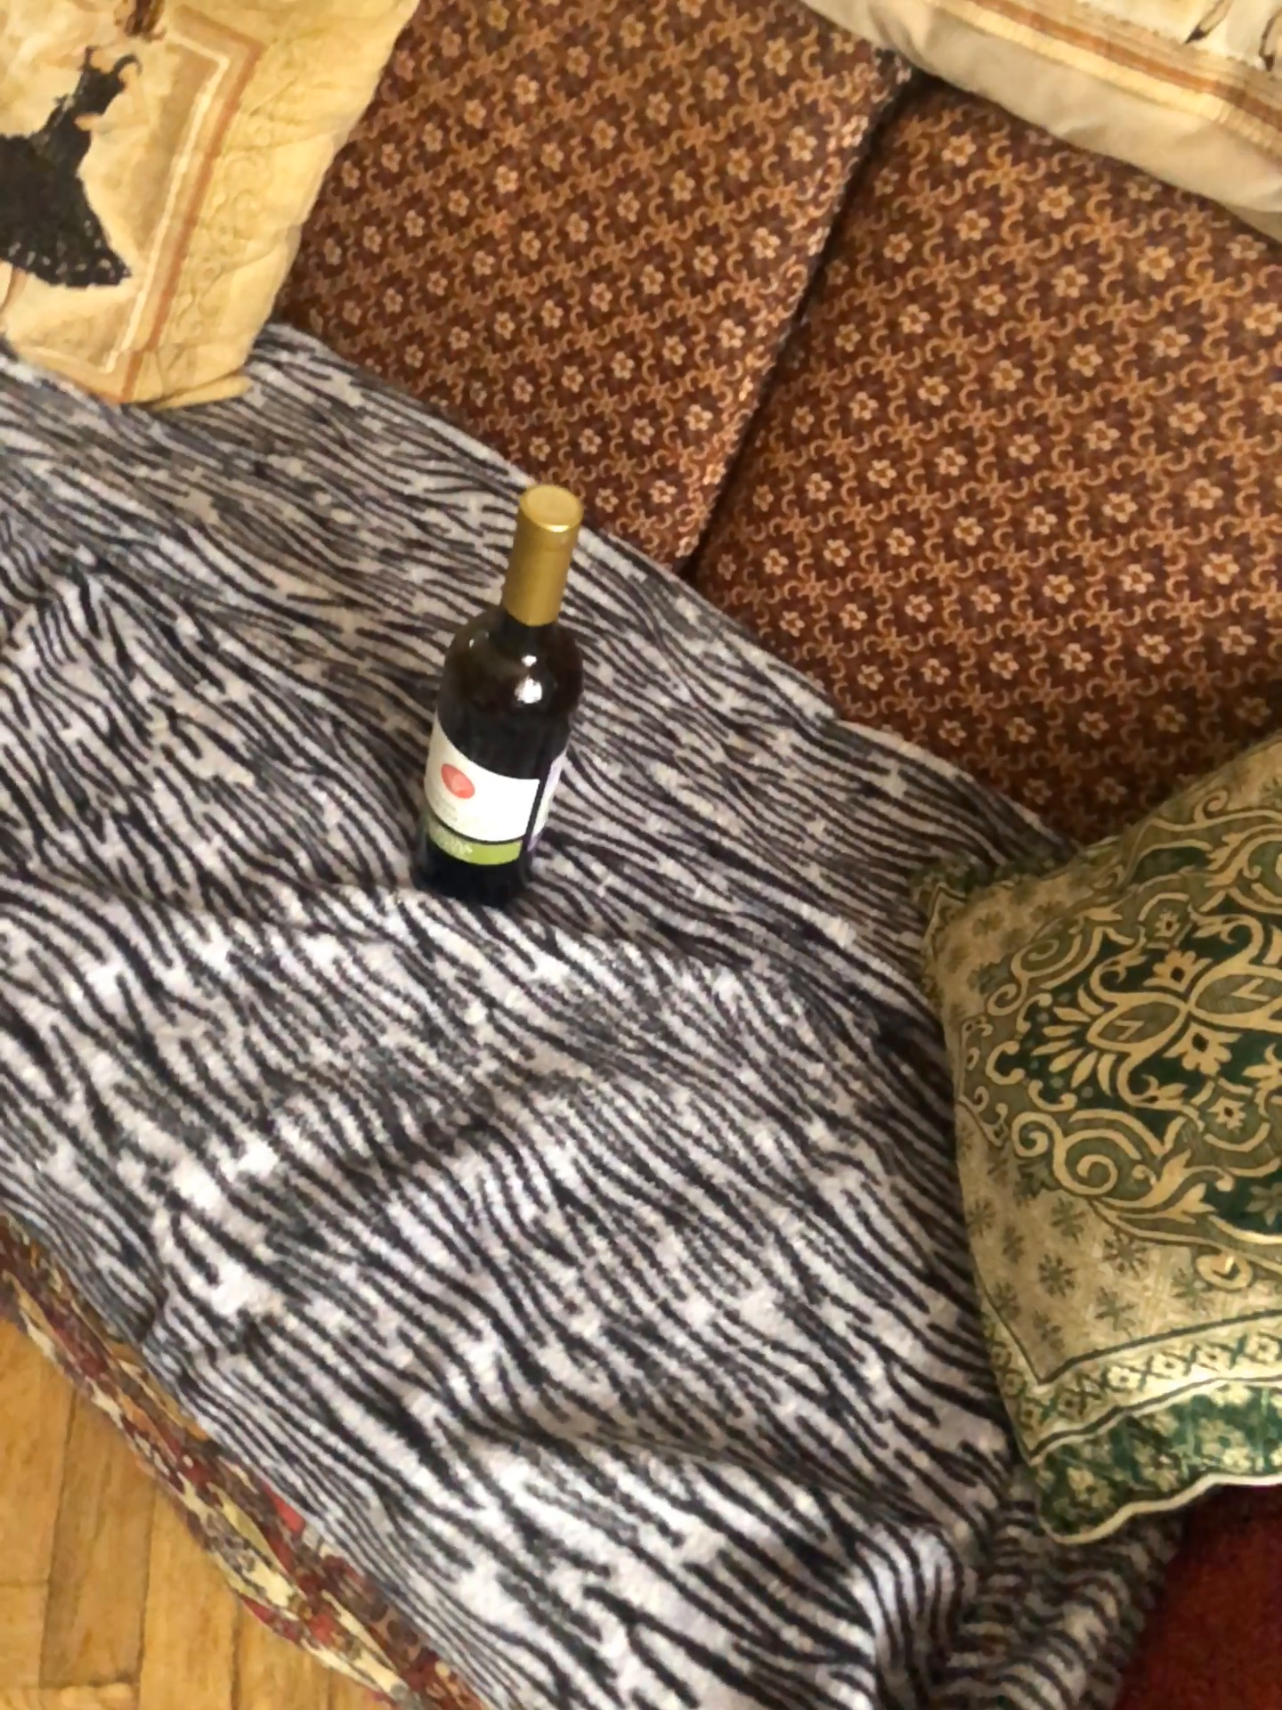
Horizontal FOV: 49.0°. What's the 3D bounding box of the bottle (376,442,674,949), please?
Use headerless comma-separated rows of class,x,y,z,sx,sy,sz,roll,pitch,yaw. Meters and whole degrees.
bottle,-0.070,-0.071,0.739,0.080,0.268,0.080,8,52,-11
